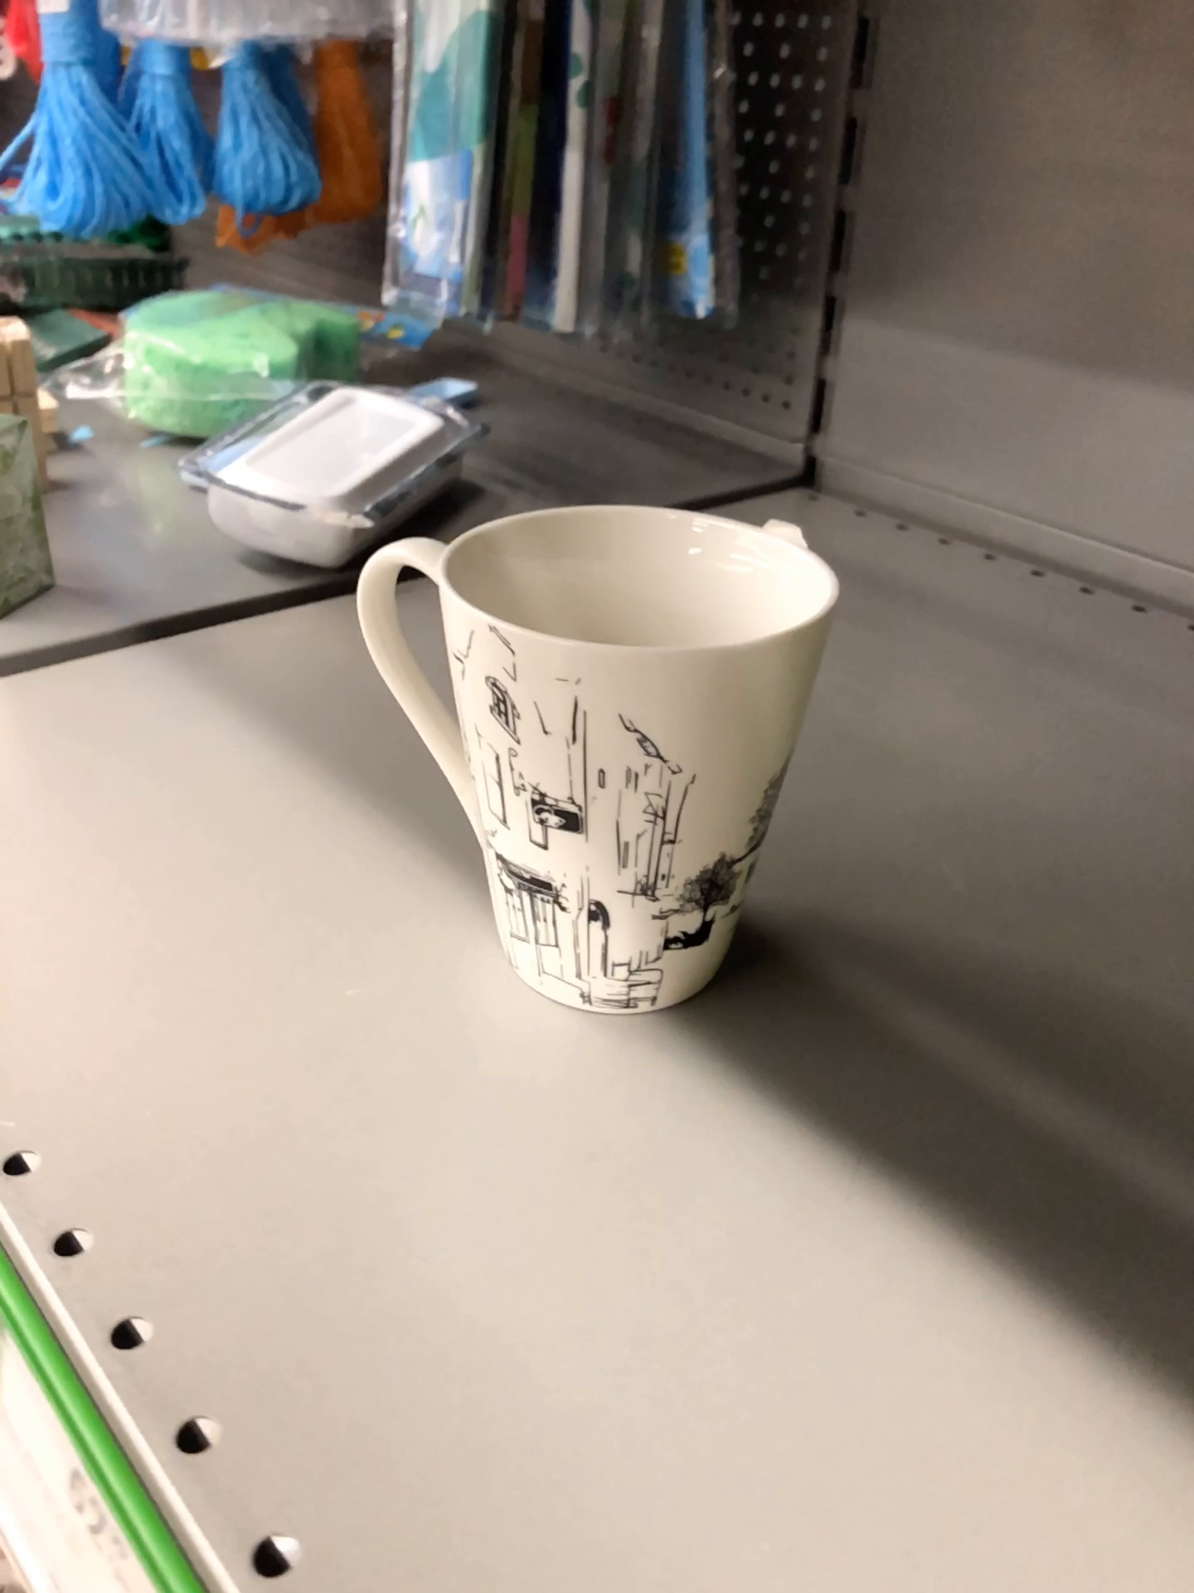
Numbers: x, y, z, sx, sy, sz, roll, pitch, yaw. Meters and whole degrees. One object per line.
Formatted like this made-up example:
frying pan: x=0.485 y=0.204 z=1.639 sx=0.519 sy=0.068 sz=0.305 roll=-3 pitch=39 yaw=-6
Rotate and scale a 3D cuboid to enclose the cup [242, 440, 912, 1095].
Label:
cup: x=-0.005 y=-0.016 z=0.311 sx=0.114 sy=0.098 sz=0.091 roll=20 pitch=33 yaw=29
